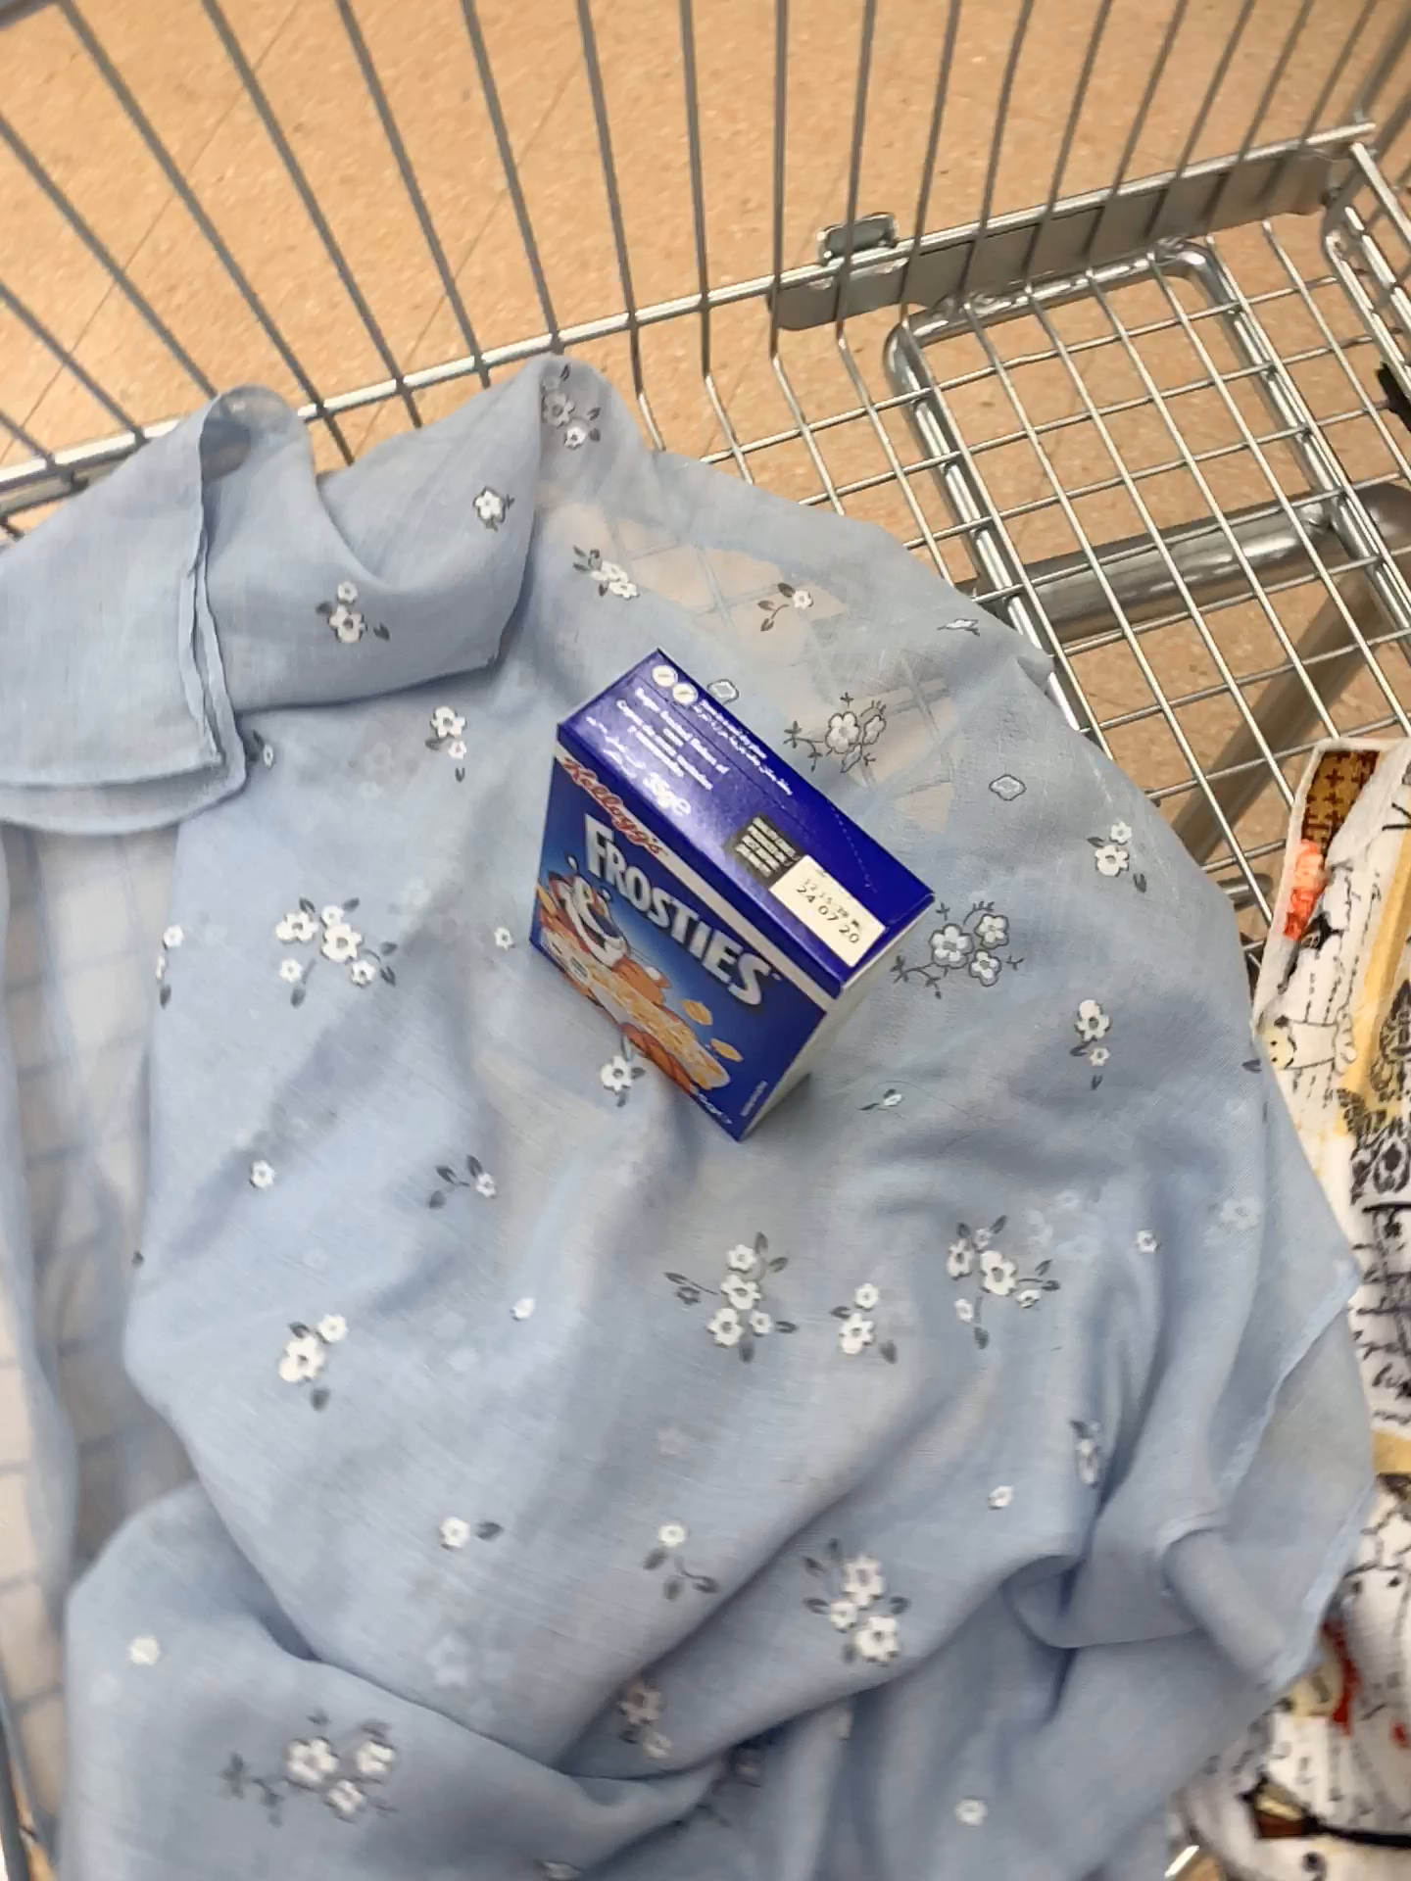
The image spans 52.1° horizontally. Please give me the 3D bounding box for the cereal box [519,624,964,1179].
[{"bbox_3d":[0.000,-0.003,0.383,0.100,0.129,0.040,44,68,12],"label":"cereal box"}]
